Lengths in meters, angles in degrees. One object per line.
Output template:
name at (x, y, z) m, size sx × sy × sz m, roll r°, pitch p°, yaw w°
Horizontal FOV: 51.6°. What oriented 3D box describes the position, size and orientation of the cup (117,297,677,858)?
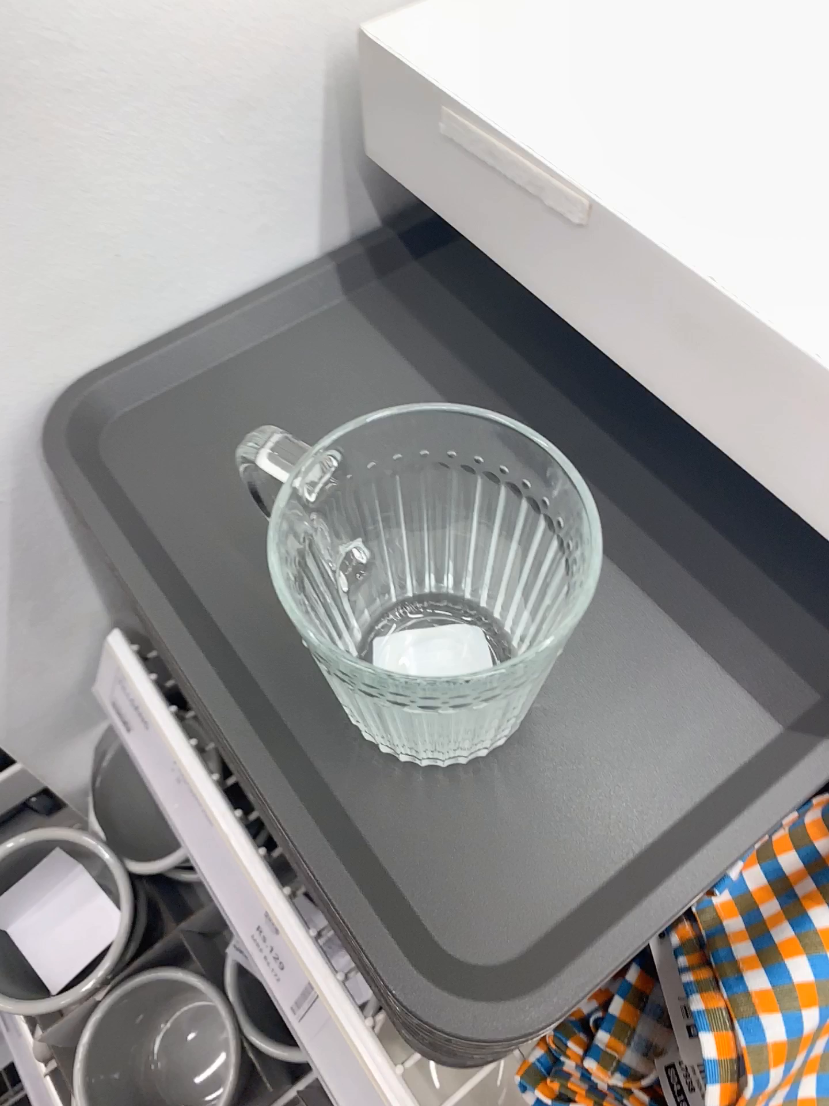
cup at (-0.006, 0.006, 0.239) m, size 0.110 × 0.080 × 0.080 m, roll 40°, pitch 66°, yaw 23°
